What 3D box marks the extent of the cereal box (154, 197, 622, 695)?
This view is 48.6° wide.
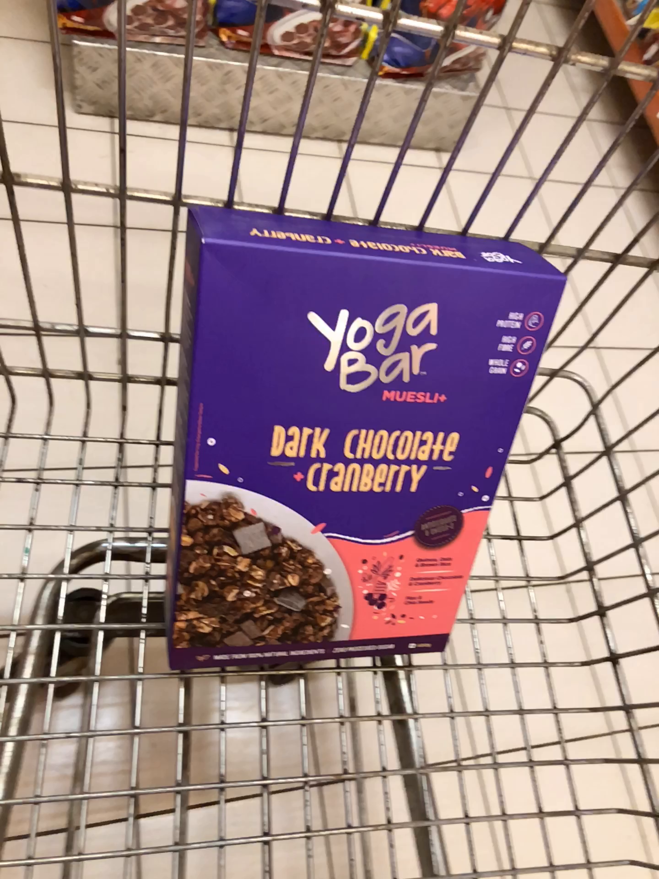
[{"bbox_3d":[0.012,0.015,0.361,0.180,0.229,0.060,2,29,-16],"label":"cereal box"}]
